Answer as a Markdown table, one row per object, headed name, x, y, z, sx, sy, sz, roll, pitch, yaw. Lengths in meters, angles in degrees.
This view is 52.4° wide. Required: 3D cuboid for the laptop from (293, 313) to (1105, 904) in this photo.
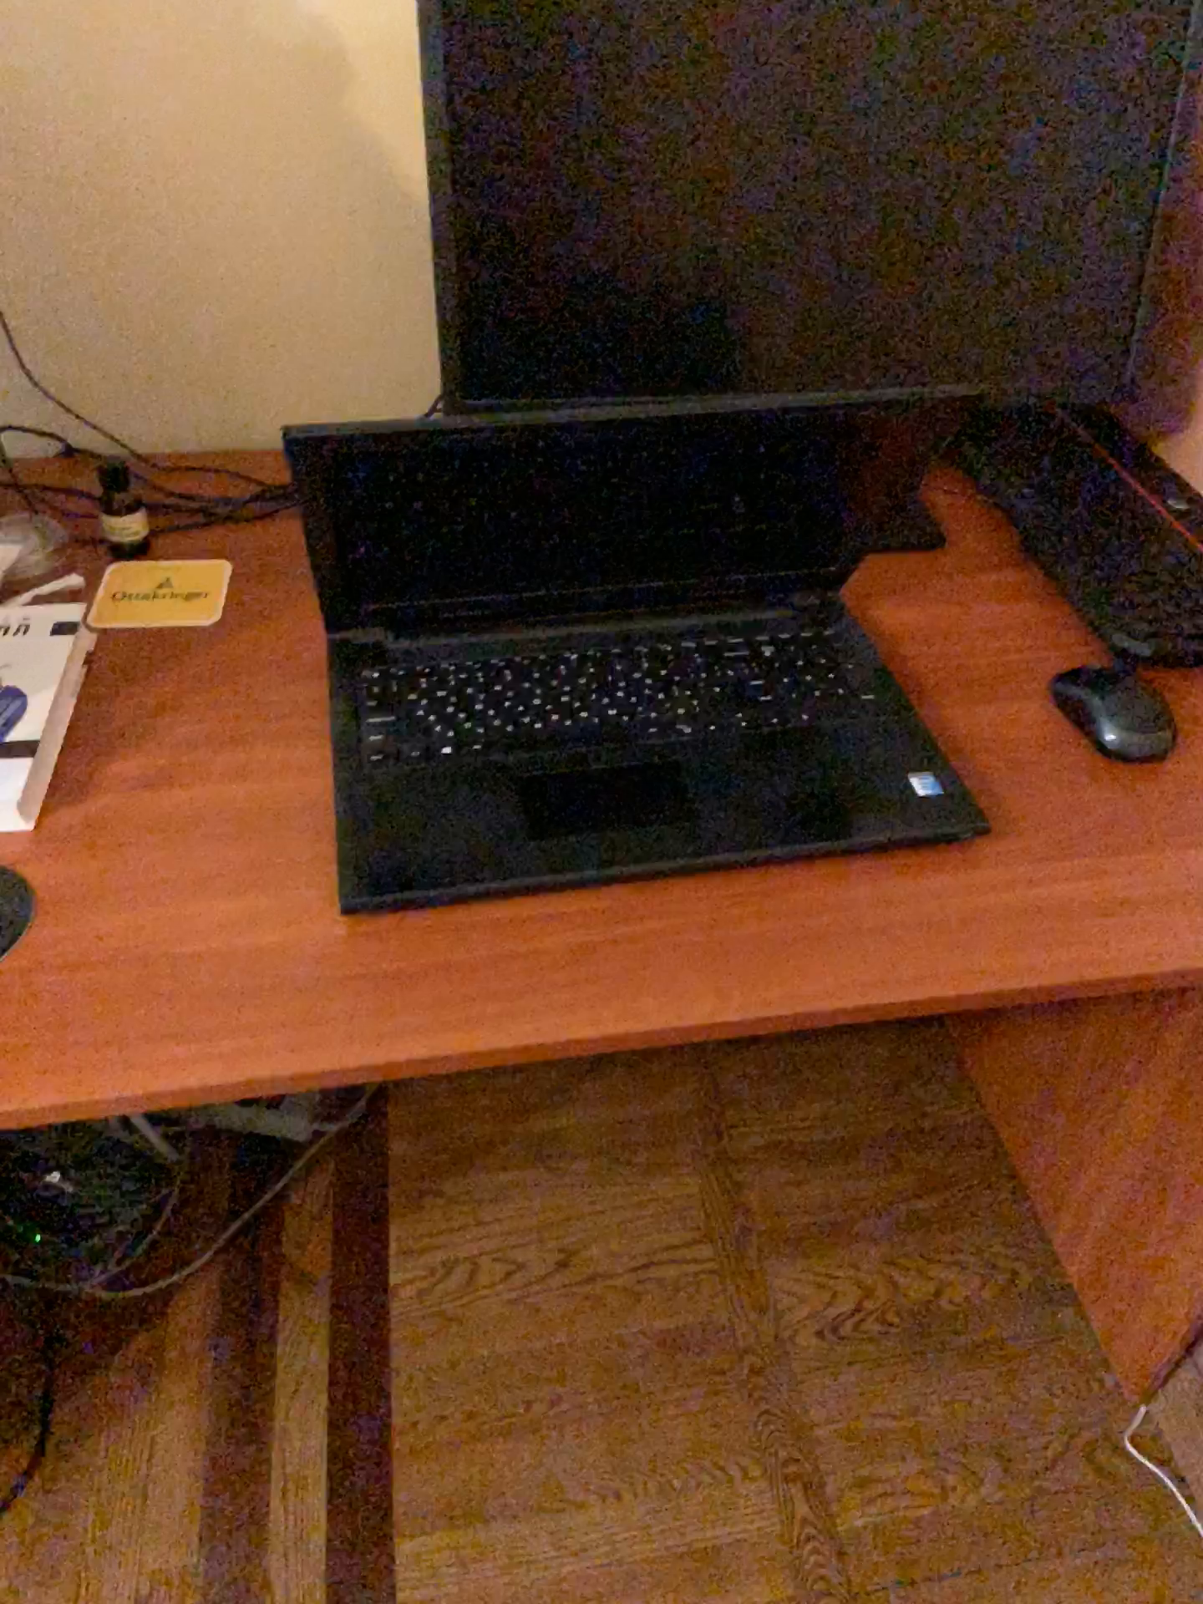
| name | x | y | z | sx | sy | sz | roll | pitch | yaw |
| --- | --- | --- | --- | --- | --- | --- | --- | --- | --- |
| laptop | 0.026 | -0.126 | 0.711 | 0.372 | 0.212 | 0.255 | -6 | 41 | -10 |
